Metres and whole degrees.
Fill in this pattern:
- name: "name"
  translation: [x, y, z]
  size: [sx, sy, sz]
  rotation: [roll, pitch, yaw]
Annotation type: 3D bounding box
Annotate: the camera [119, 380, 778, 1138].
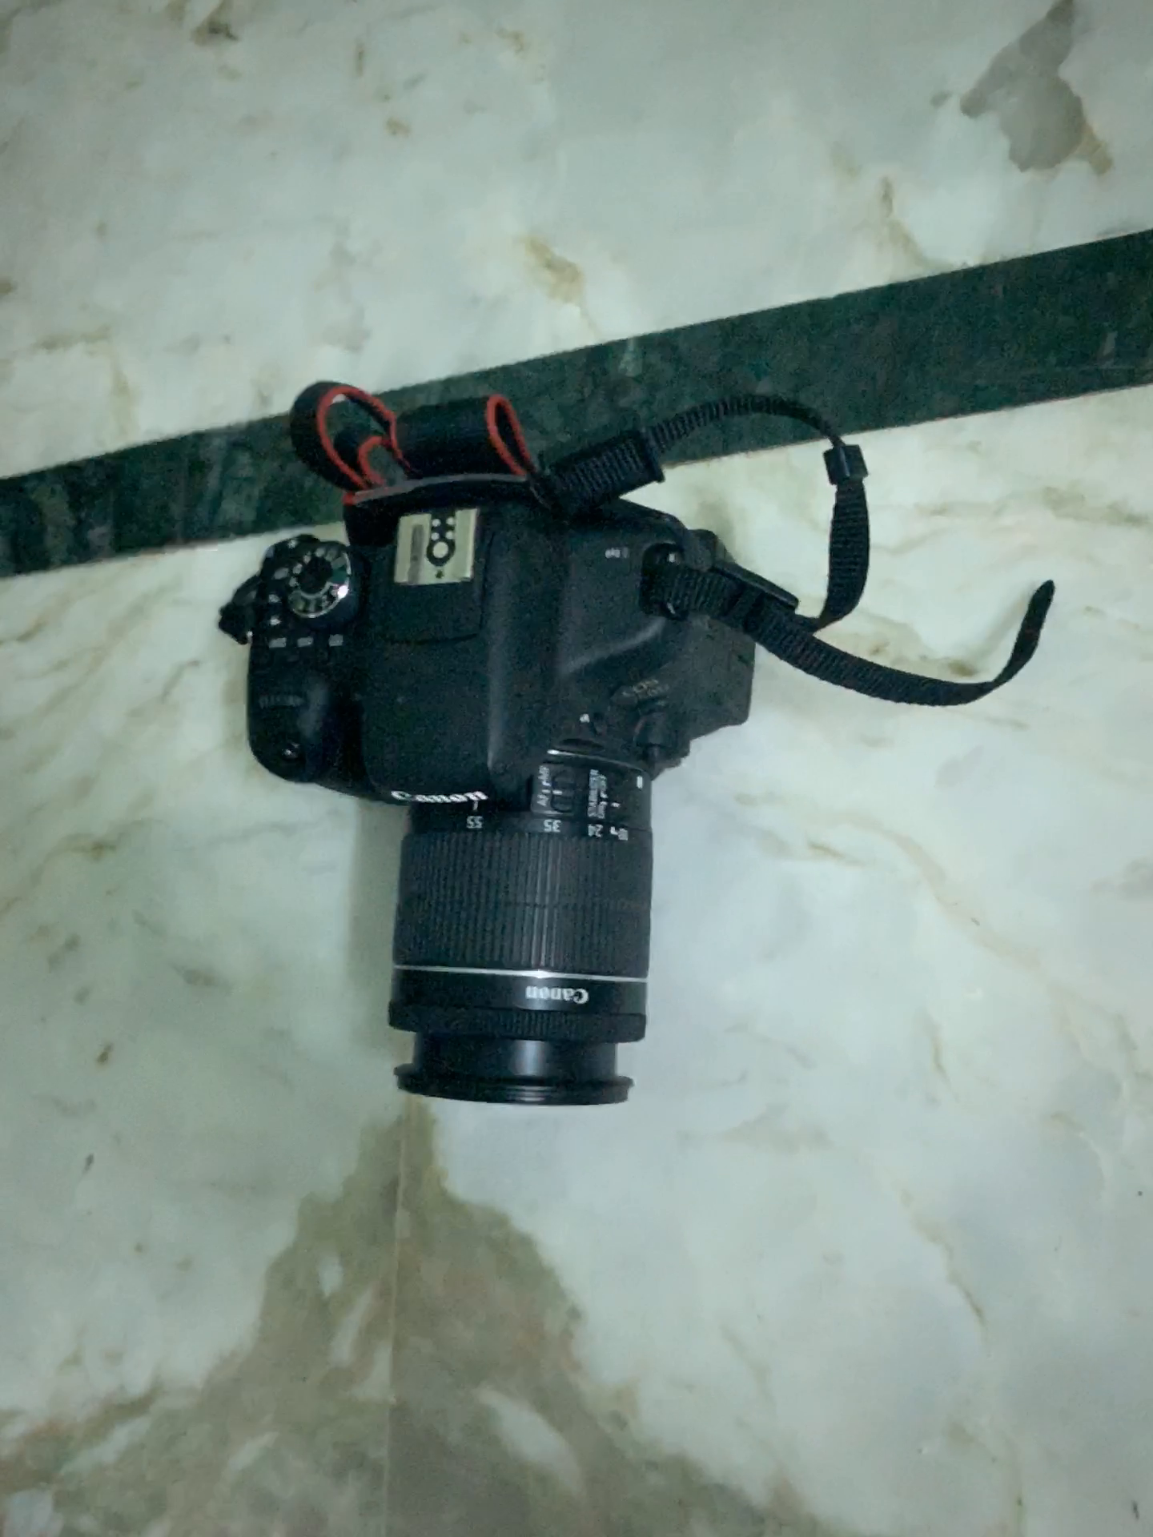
- name: "camera"
  translation: [-0.023, 0.006, 0.316]
  size: [0.128, 0.100, 0.160]
  rotation: [-2, 76, 23]
